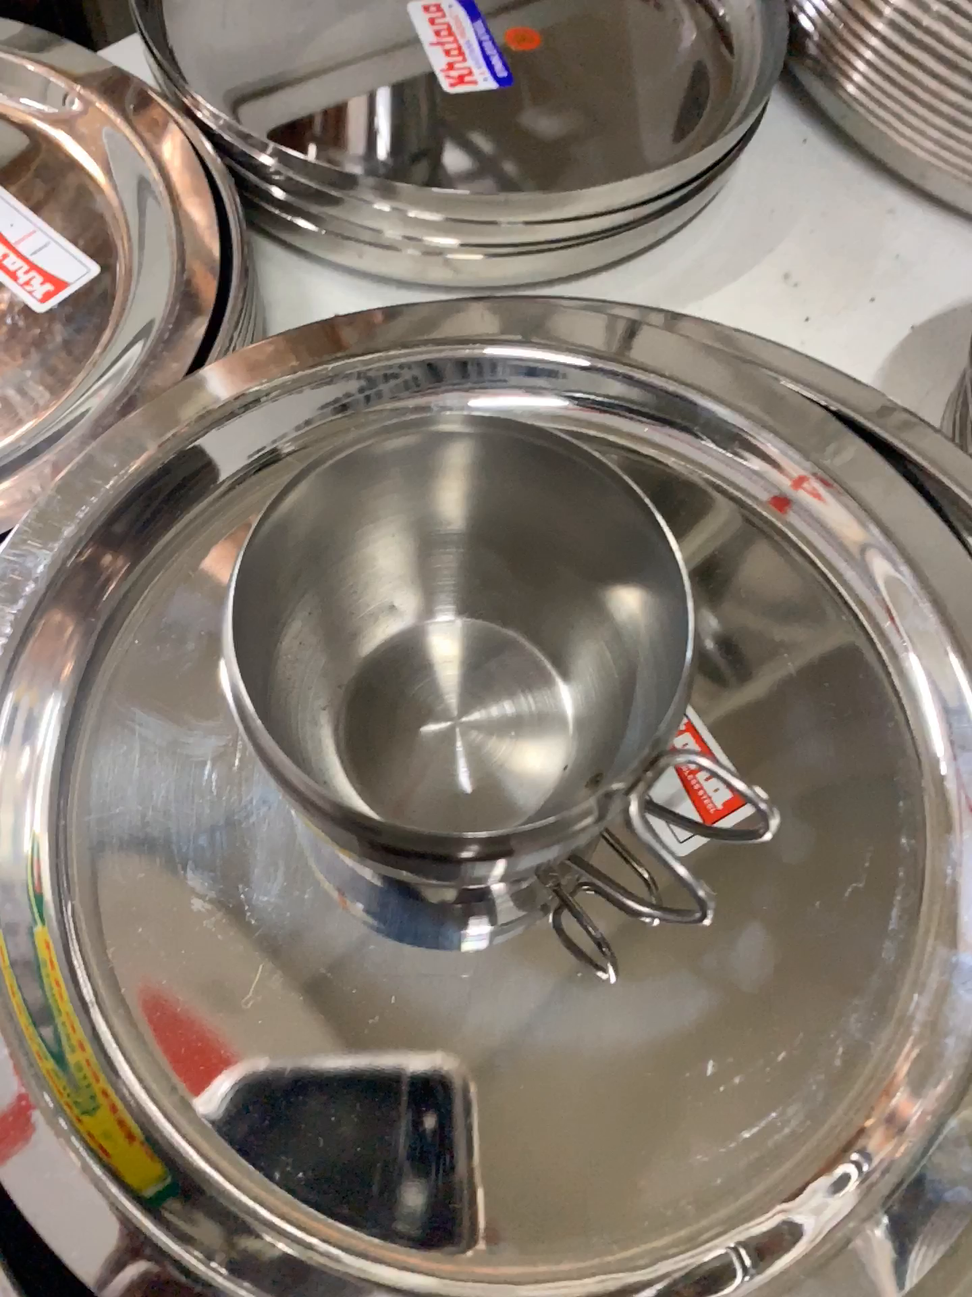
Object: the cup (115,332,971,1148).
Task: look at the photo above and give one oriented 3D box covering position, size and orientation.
[{"bbox_3d":[0.007,0.011,0.150,0.090,0.040,0.070,41,70,15],"label":"cup"}]
